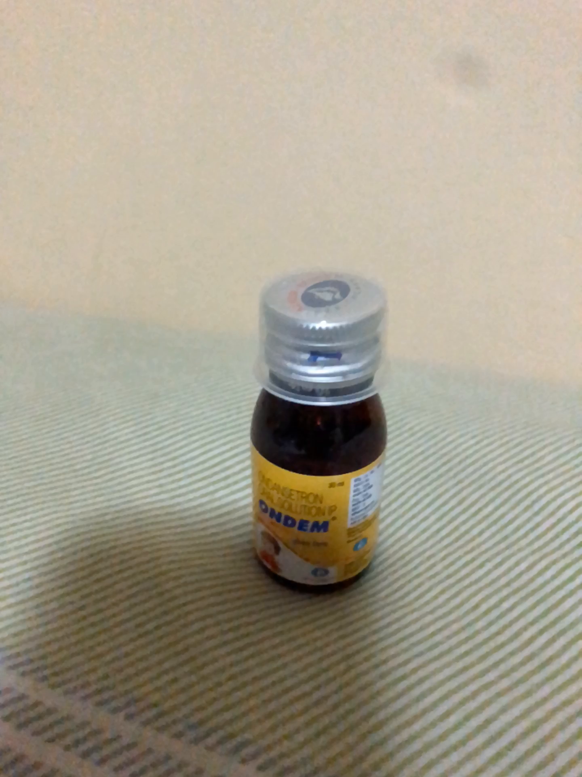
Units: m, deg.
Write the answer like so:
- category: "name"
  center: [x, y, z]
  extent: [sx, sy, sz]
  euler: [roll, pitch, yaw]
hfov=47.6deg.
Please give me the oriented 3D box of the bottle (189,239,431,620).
- category: "bottle"
  center: [0.006, 0.009, 0.160]
  extent: [0.037, 0.076, 0.038]
  euler: [-2, 31, 1]
